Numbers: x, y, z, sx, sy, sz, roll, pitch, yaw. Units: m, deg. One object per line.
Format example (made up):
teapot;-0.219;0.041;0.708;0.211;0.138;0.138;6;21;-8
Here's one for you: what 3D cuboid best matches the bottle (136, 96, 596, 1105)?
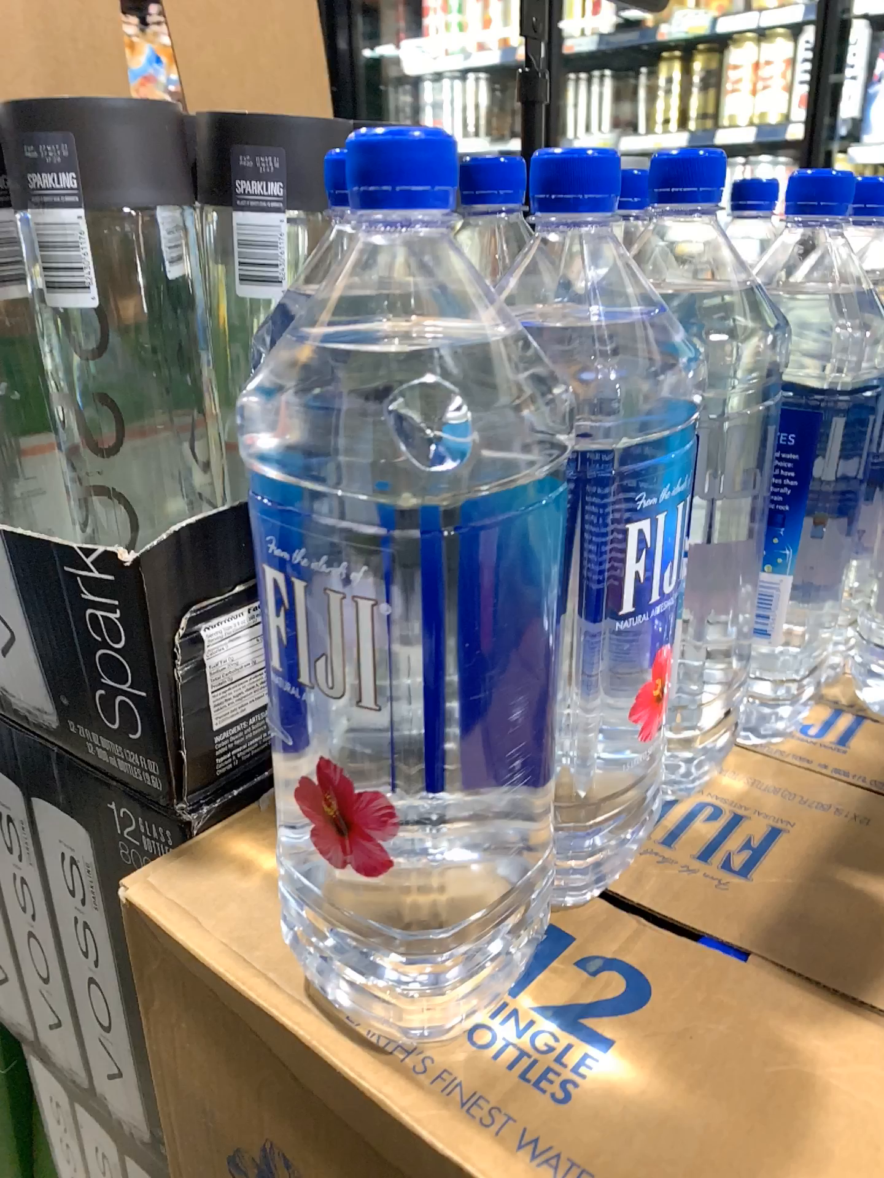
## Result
bottle;-0.017;0.009;0.287;0.090;0.279;0.080;18;29;41
